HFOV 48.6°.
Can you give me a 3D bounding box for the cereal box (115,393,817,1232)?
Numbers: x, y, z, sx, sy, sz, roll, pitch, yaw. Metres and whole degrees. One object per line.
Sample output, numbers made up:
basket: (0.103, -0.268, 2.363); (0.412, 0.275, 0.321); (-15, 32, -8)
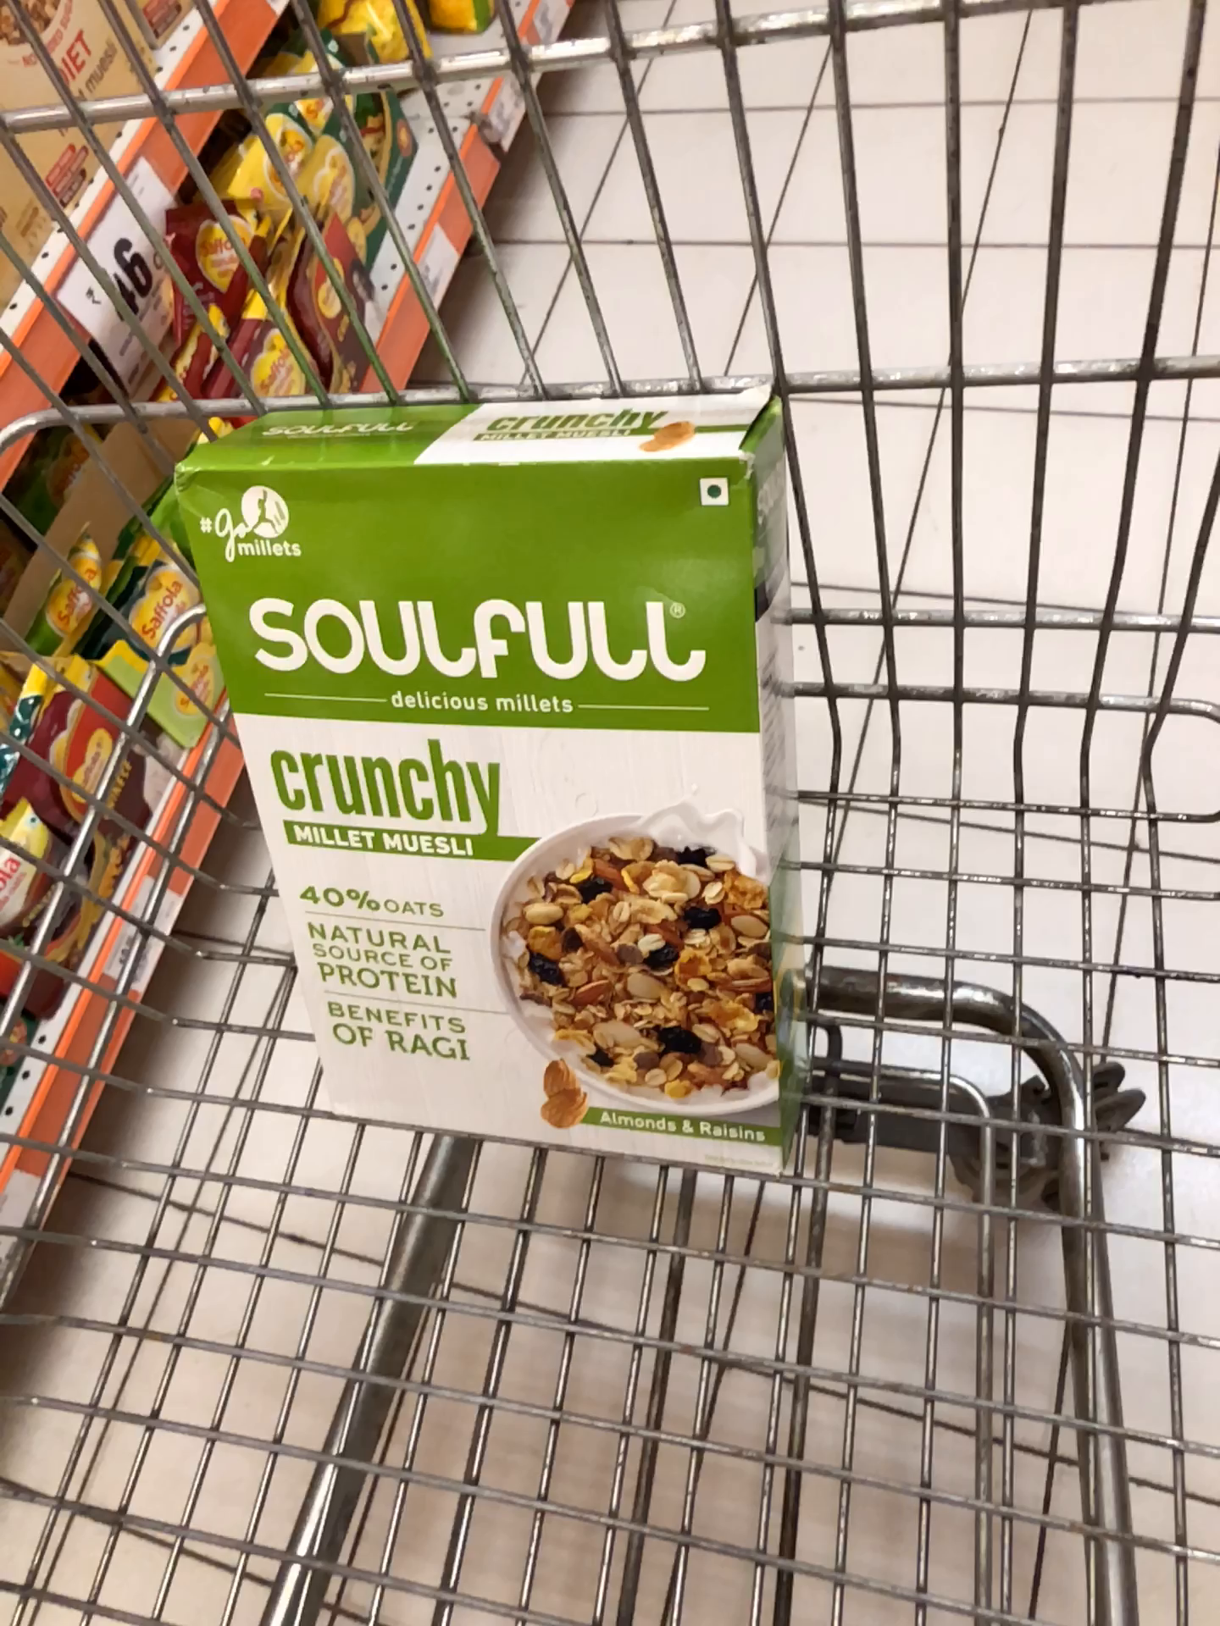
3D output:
cereal box: (-0.028, 0.003, 0.416); (0.170, 0.239, 0.070); (3, 30, 17)
